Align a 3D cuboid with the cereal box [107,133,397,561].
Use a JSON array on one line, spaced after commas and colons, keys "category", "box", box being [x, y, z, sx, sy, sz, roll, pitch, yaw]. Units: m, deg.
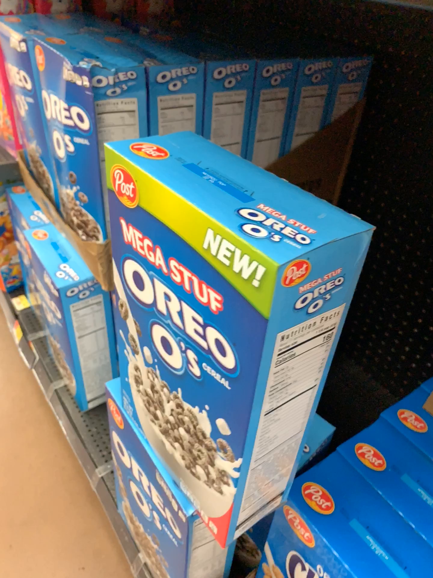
[{"category": "cereal box", "box": [-0.003, 0.052, 0.385, 0.080, 0.298, 0.201, -21, 44, -34]}]
